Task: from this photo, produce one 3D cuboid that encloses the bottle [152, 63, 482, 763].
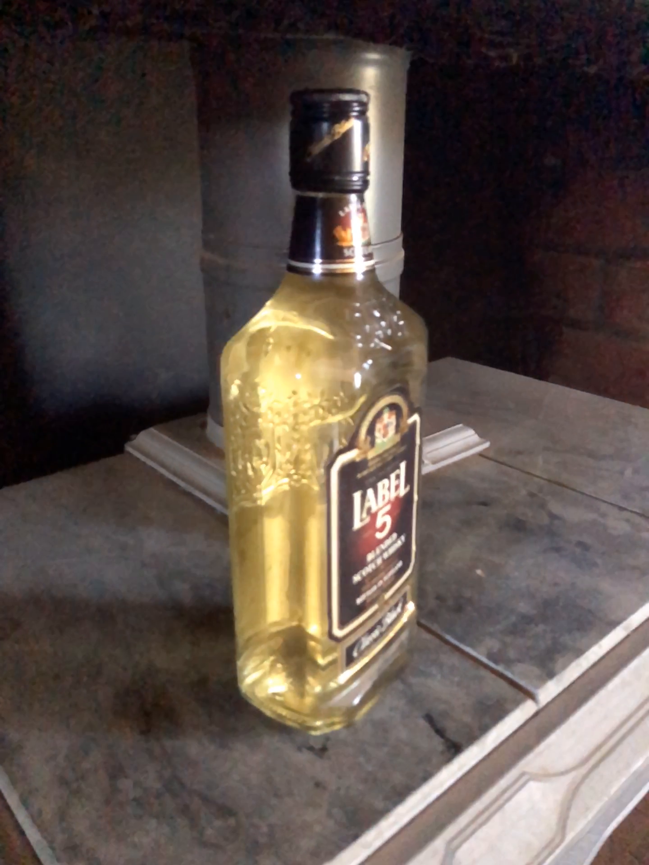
[{"bbox_3d":[0.005,-0.008,0.295,0.060,0.249,0.111,15,27,35],"label":"bottle"}]
